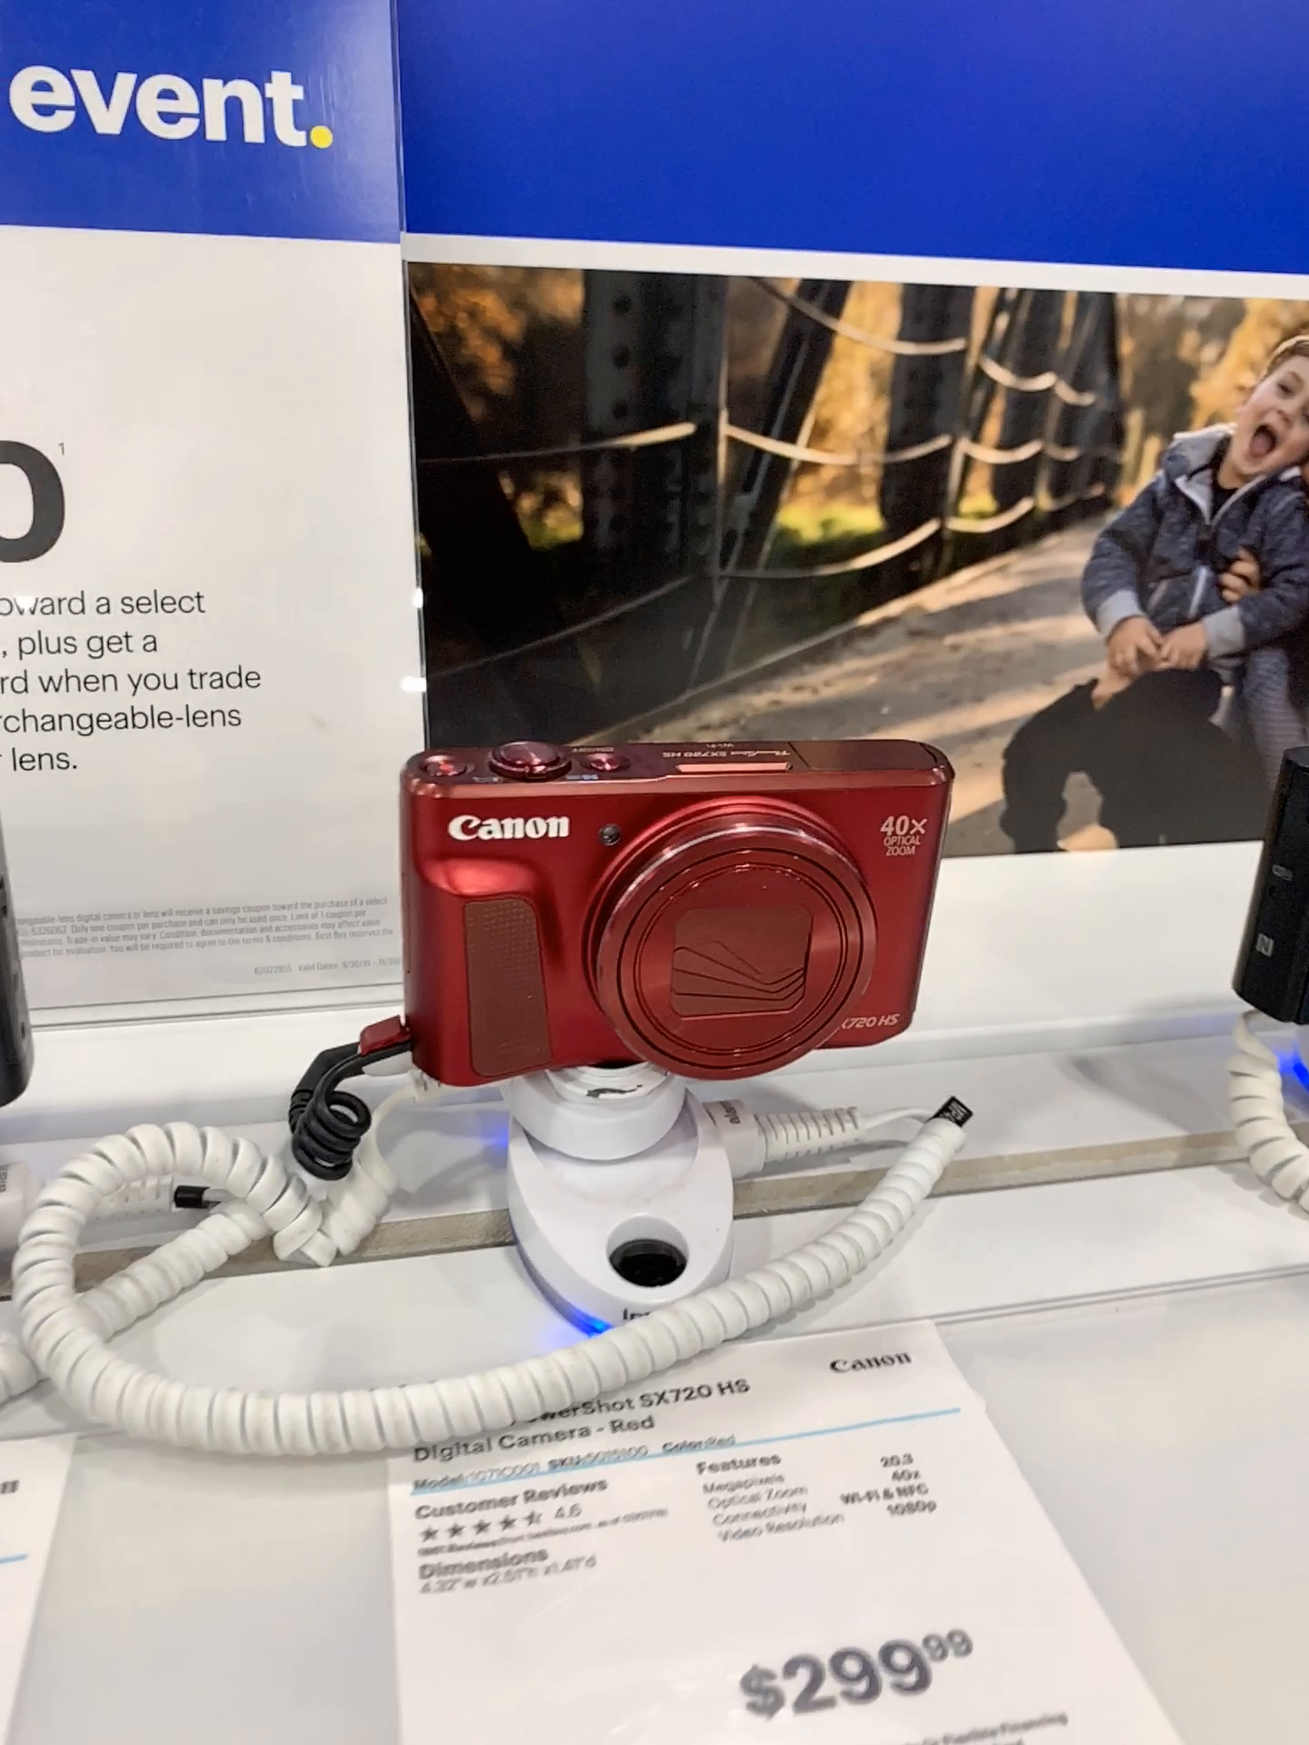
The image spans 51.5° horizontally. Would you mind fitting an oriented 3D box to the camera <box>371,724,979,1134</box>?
[{"bbox_3d":[0.002,0.010,0.269,0.110,0.070,0.030,-3,26,-10],"label":"camera"}]
